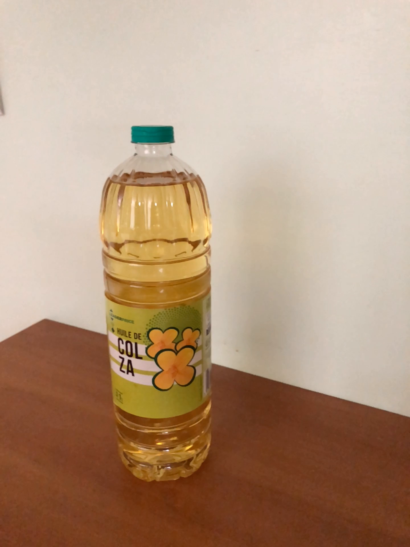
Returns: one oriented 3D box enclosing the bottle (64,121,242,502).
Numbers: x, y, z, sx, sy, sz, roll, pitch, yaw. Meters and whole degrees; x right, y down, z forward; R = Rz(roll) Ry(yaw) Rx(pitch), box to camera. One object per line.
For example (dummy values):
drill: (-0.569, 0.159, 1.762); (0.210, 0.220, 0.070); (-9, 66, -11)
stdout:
bottle: (-0.028, 0.027, 0.348); (0.090, 0.269, 0.091); (-1, 20, 0)
